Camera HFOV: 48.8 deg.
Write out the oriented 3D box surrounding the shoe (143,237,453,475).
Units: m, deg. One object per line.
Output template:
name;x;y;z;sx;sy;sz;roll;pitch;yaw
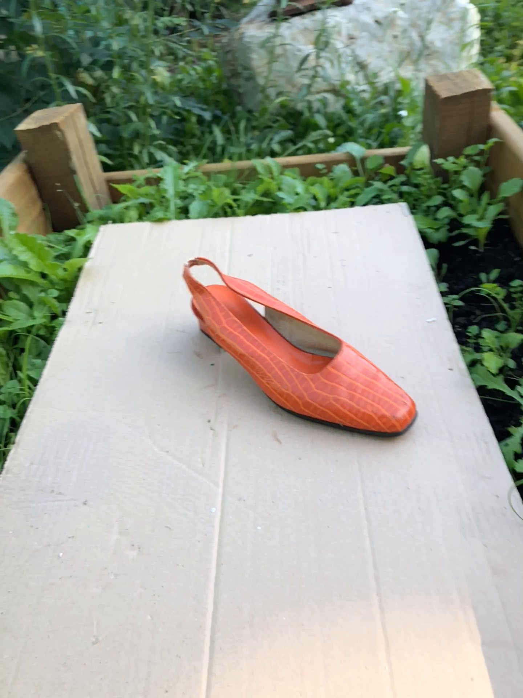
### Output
shoe;0.022;-0.008;0.514;0.260;0.089;0.090;26;47;32
